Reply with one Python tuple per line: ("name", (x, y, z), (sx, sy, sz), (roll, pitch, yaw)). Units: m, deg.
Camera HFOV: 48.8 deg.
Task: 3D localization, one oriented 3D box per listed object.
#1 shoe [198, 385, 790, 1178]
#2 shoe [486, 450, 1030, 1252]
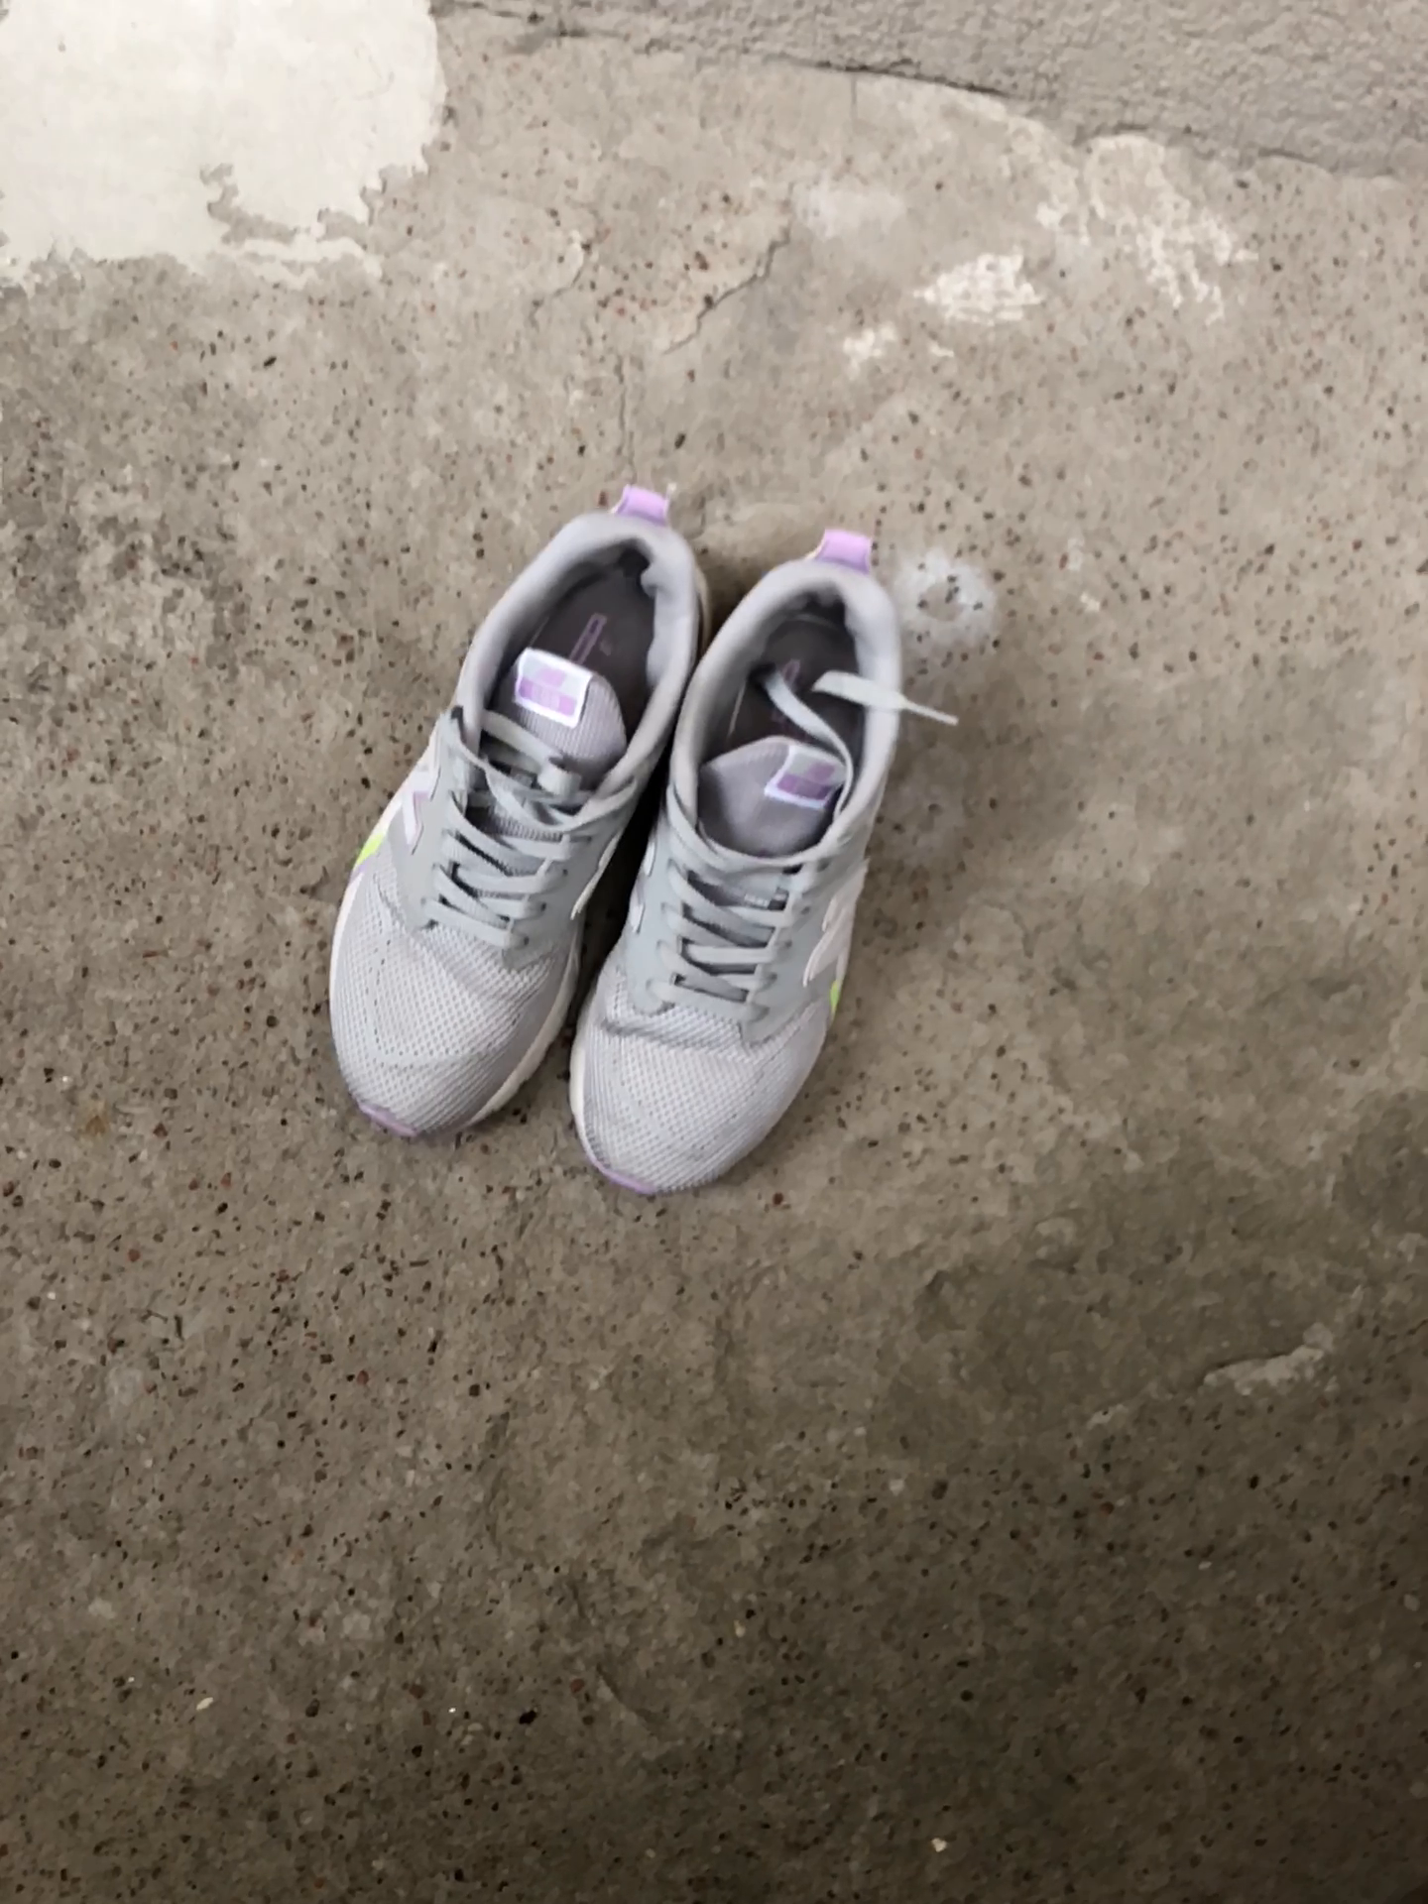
("shoe", (-0.079, -0.061, 0.620), (0.110, 0.100, 0.270), (24, 85, 0))
("shoe", (0.016, -0.036, 0.617), (0.110, 0.100, 0.270), (20, 85, 0))
